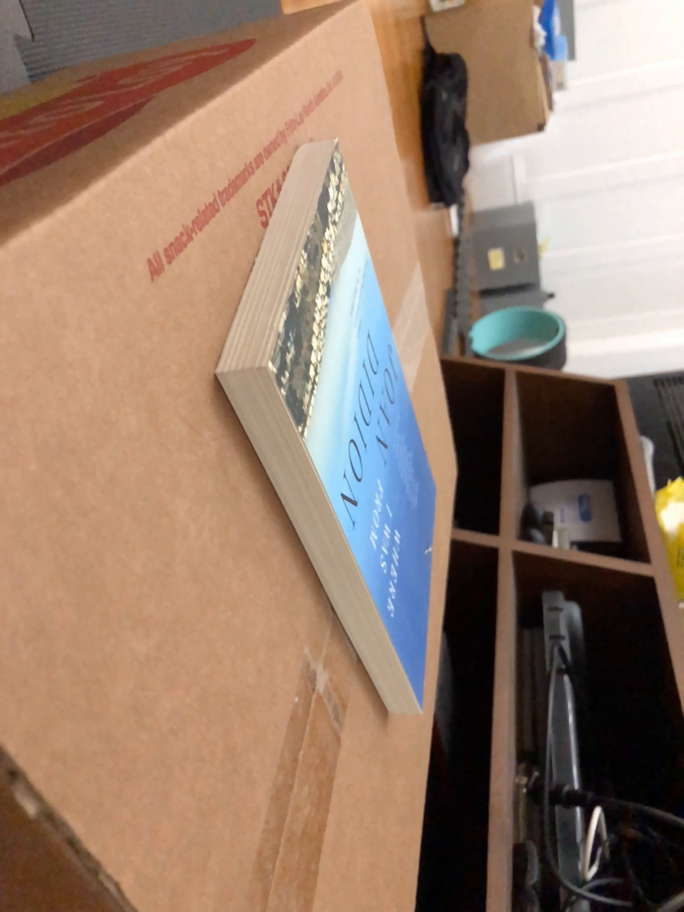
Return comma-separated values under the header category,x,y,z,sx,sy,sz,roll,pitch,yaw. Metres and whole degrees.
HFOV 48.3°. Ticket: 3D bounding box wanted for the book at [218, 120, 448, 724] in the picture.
category,x,y,z,sx,sy,sz,roll,pitch,yaw
book,0.014,-0.003,0.313,0.210,0.020,0.140,69,22,-44
